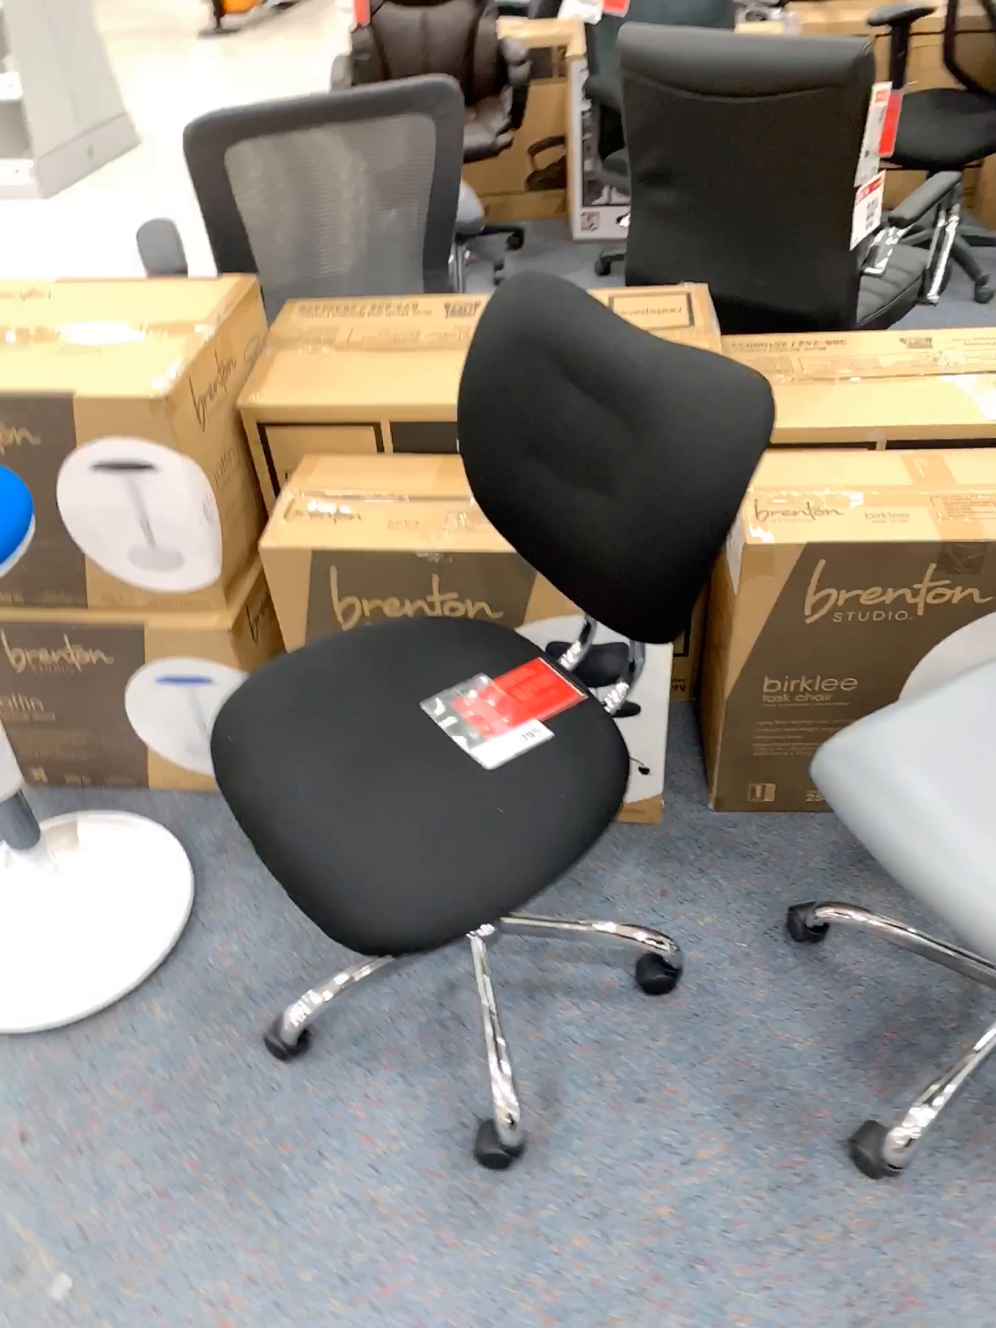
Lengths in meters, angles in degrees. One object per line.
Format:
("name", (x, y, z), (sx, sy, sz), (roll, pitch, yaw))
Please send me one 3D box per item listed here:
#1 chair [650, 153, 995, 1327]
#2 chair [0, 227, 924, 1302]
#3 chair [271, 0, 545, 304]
("chair", (0.689, 0.138, 1.032), (0.708, 0.959, 0.740), (-30, 46, -27))
("chair", (-0.075, 0.089, 1.204), (0.658, 0.880, 0.650), (-25, 44, -23))
("chair", (-0.255, -1.958, 3.515), (0.737, 1.049, 0.871), (-4, 40, 1))
